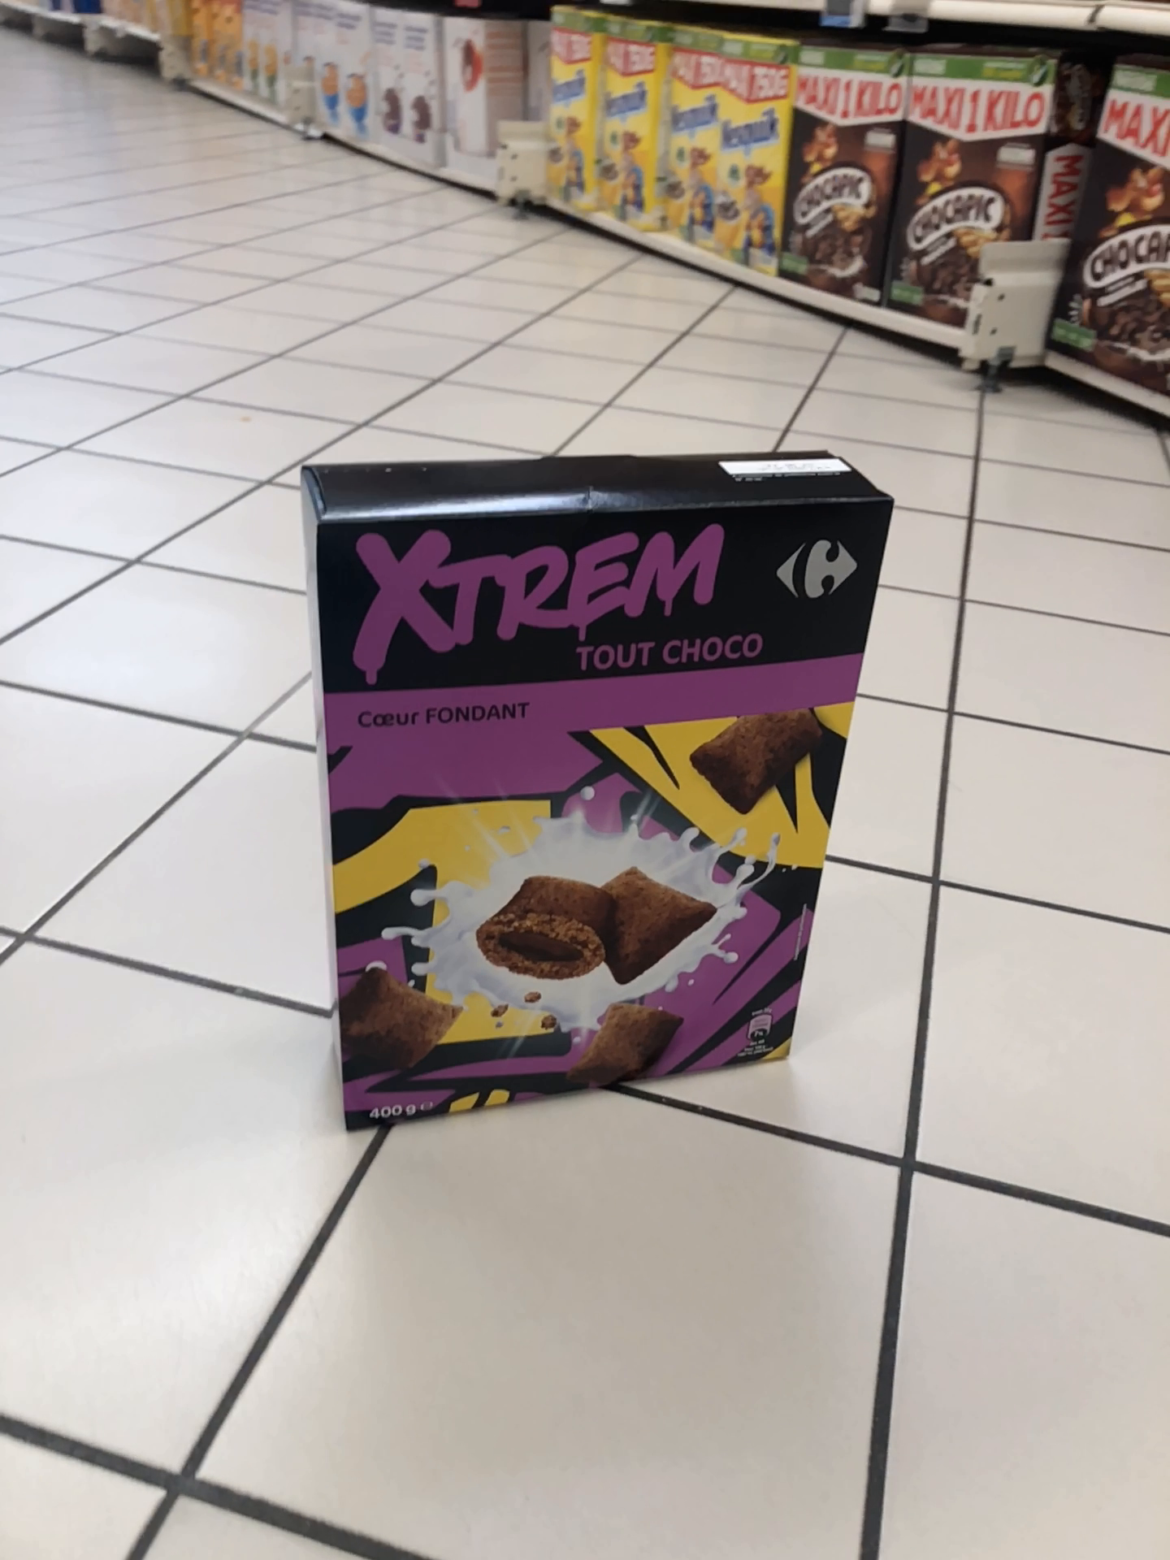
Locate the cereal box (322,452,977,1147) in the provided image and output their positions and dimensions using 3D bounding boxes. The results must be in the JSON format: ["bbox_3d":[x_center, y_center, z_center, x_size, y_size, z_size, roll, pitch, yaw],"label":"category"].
[{"bbox_3d":[0.012,0.009,0.475,0.200,0.239,0.070,-4,31,-15],"label":"cereal box"}]
